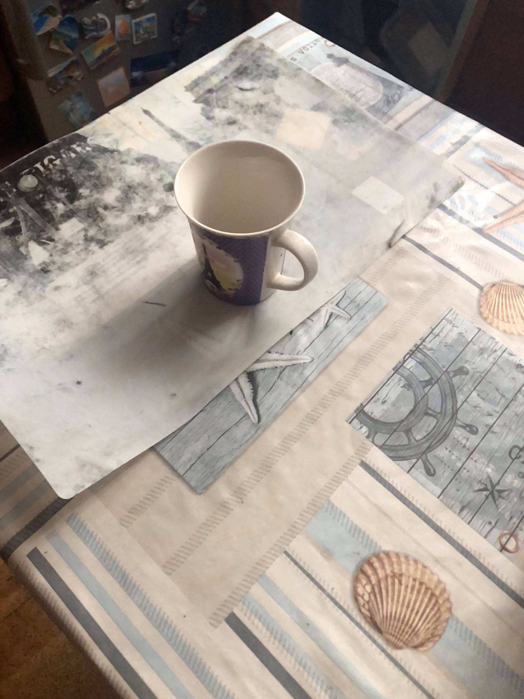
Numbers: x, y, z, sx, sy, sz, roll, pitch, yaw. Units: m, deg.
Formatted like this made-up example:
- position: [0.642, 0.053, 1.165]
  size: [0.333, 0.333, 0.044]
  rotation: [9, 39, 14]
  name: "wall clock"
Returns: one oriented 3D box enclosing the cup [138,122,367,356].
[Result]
- position: [-0.007, -0.079, 0.415]
  size: [0.120, 0.085, 0.090]
  rotation: [33, 63, 16]
  name: "cup"
